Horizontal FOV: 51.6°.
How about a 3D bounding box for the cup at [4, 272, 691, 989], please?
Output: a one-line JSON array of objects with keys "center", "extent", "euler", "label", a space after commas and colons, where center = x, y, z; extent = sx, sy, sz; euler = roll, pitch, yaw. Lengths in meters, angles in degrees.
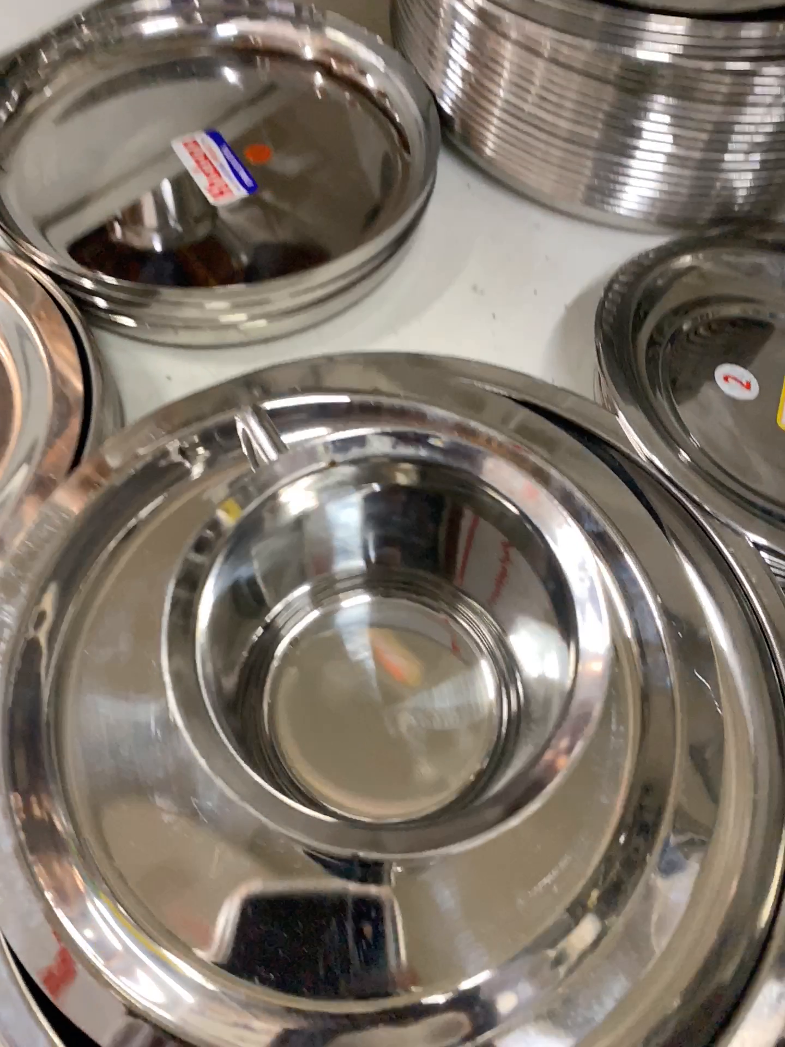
[{"center": [-0.014, 0.026, 0.187], "extent": [0.080, 0.090, 0.110], "euler": [-28, 68, -14], "label": "cup"}]
